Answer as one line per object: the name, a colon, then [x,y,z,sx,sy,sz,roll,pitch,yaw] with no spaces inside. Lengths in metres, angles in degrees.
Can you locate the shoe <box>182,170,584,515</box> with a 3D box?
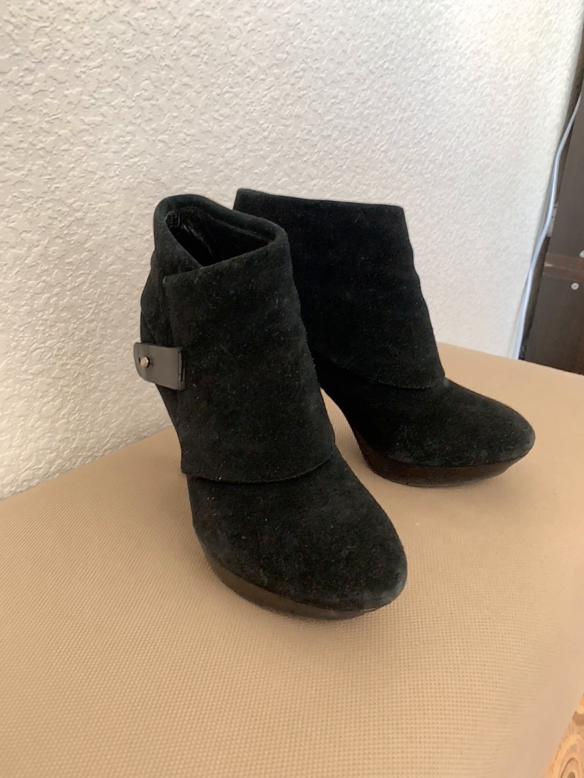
shoe: [0.052,-0.041,0.385,0.218,0.166,0.090,12,28,20]

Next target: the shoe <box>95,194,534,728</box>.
shoe: [-0.014,0.006,0.303,0.090,0.166,0.218,-14,30,-29]
